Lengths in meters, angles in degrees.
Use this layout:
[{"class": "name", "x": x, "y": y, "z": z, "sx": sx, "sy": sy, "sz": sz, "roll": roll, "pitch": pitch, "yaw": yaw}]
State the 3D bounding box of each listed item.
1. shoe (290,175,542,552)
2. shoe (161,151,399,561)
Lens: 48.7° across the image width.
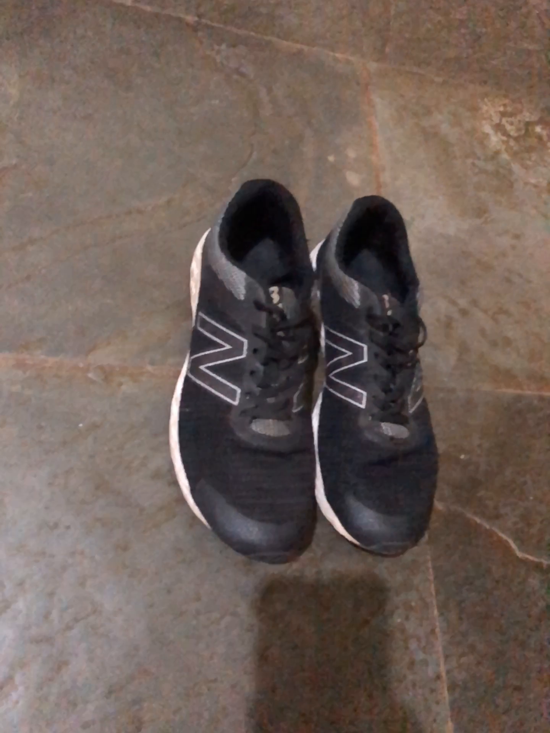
[{"class": "shoe", "x": 0.092, "y": -0.002, "z": 0.465, "sx": 0.110, "sy": 0.099, "sz": 0.261, "roll": 1, "pitch": 67, "yaw": -17}, {"class": "shoe", "x": -0.011, "y": -0.008, "z": 0.430, "sx": 0.120, "sy": 0.099, "sz": 0.261, "roll": 1, "pitch": 67, "yaw": -17}]
